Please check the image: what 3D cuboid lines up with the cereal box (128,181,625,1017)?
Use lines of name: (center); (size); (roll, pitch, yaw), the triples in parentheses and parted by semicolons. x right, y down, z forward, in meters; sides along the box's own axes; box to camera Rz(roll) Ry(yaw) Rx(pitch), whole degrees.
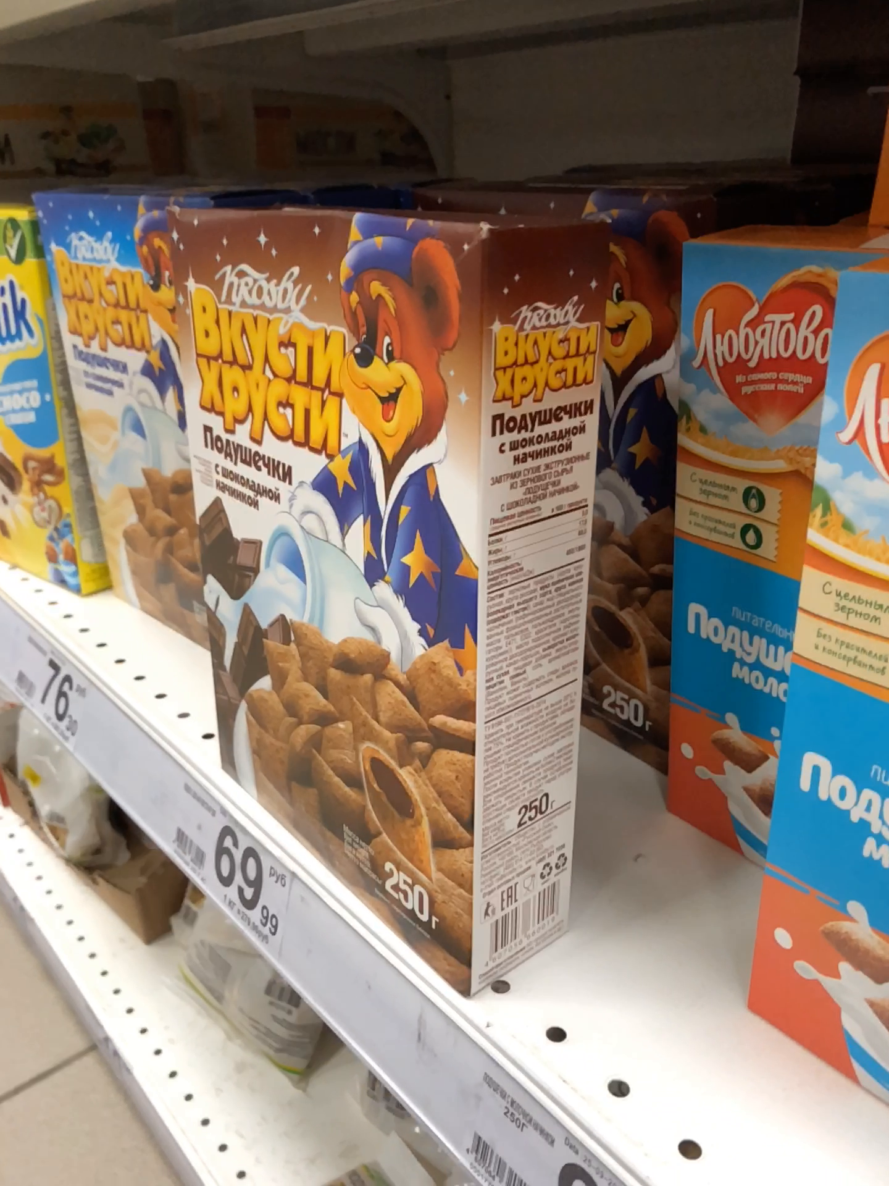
cereal box: (-0.033, -0.013, 0.330); (0.050, 0.229, 0.181); (-17, 28, -35)
